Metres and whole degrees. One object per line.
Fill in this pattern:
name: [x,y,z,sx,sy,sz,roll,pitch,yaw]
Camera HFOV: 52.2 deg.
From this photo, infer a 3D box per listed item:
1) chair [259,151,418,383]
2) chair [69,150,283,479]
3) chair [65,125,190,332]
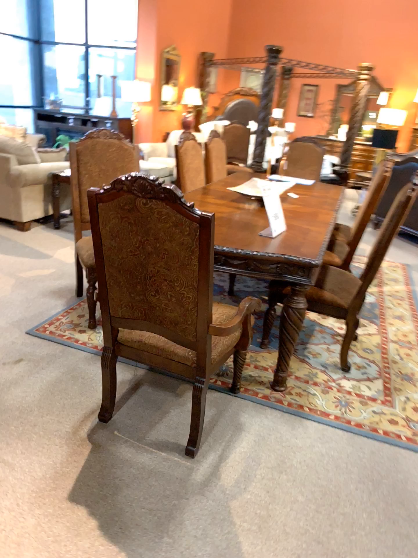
chair: [0.750,-0.109,2.500,0.619,1.134,0.565,14,23,19]
chair: [-0.131,0.084,1.837,0.583,1.124,0.672,14,23,18]
chair: [-0.590,-0.366,2.884,0.604,1.184,0.671,-5,24,-27]
